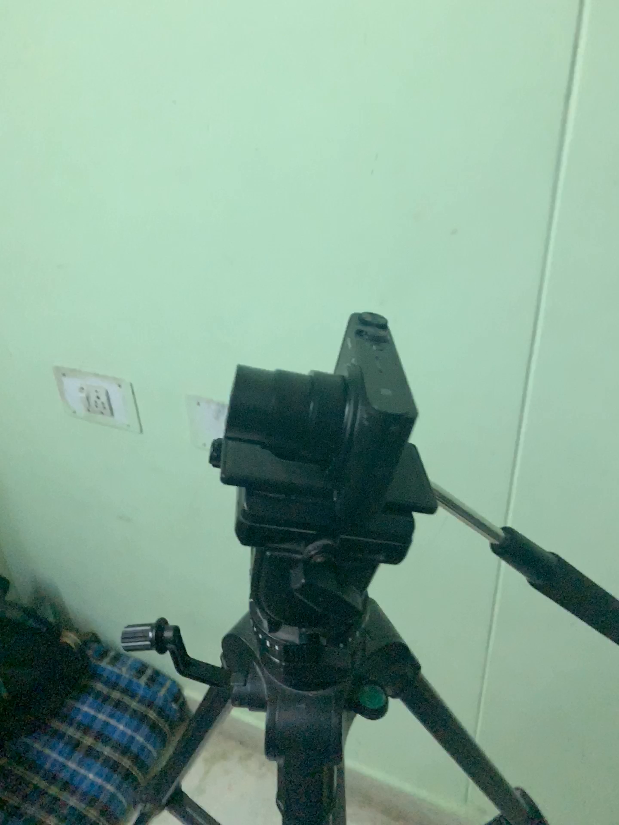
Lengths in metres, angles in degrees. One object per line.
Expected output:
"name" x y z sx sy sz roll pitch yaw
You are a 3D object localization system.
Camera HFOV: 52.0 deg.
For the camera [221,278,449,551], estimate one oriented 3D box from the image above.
"camera" 0.005 -0.004 0.270 0.067 0.060 0.103 11 30 -10
